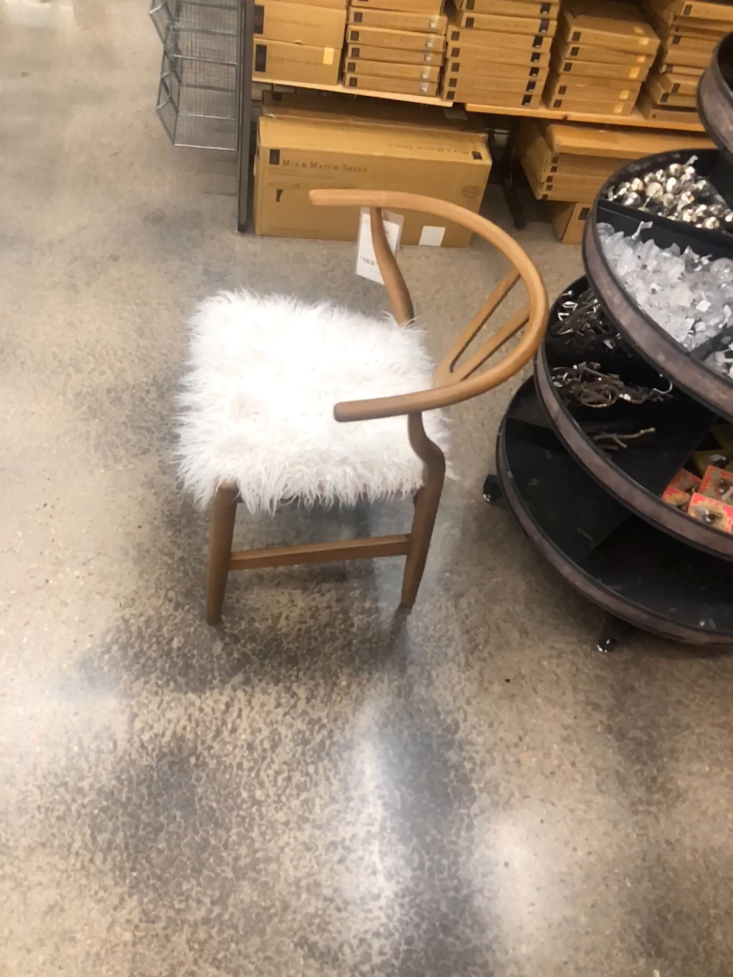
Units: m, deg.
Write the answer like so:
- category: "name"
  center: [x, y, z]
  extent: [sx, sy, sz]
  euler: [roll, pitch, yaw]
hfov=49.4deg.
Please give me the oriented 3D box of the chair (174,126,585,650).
- category: "chair"
  center: [-0.038, -0.139, 1.468]
  extent: [0.528, 0.732, 0.559]
  euler: [4, 51, -8]
